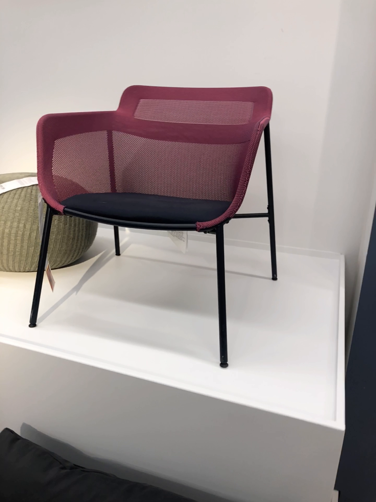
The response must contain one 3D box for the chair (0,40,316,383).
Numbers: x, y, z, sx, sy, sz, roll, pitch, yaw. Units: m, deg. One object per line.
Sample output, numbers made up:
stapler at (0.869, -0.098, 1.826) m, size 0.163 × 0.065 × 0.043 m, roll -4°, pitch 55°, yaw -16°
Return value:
chair at (-0.022, -0.239, 1.450) m, size 0.780 × 0.747 × 1.014 m, roll 7°, pitch 20°, yaw 17°
